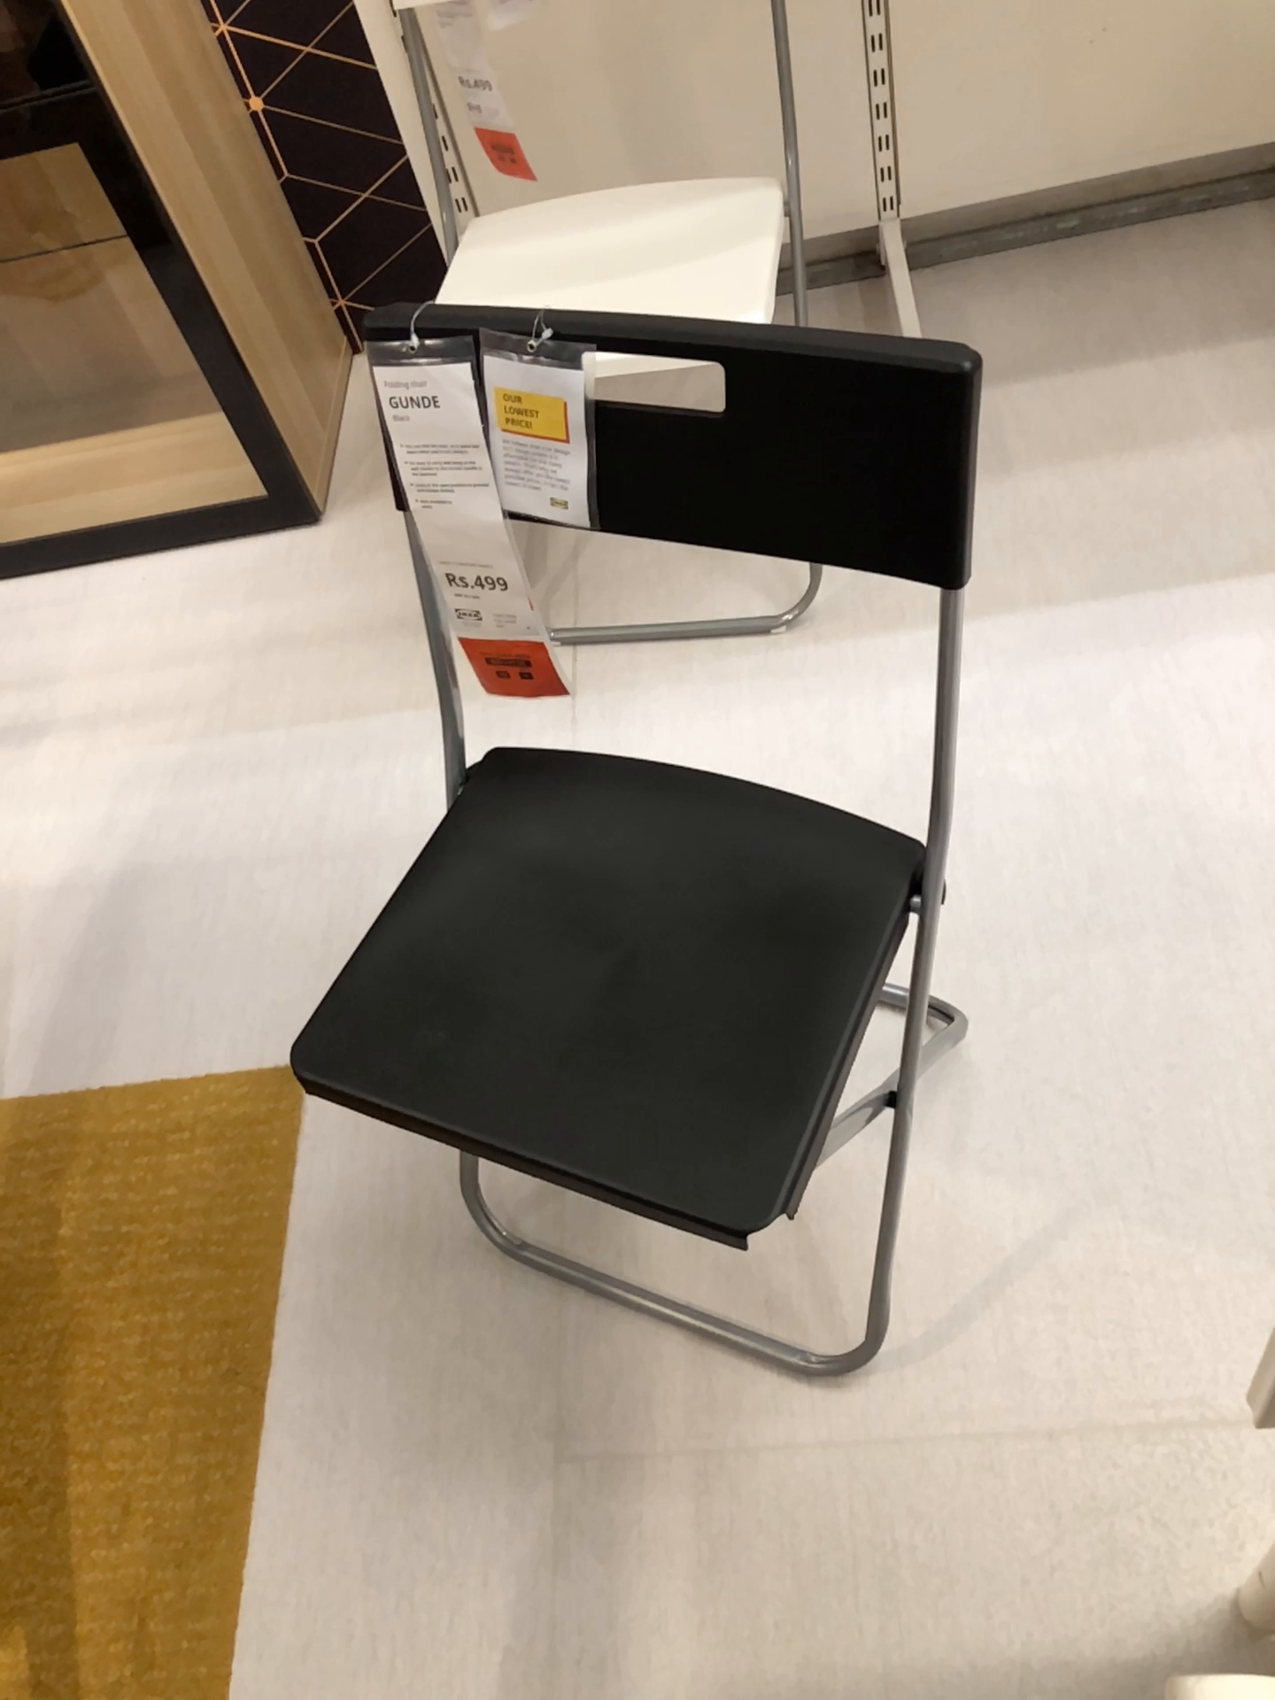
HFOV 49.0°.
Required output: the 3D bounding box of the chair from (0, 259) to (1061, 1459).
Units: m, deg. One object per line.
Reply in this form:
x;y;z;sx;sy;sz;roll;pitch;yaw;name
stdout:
0.003;0.052;1.071;0.501;0.786;0.462;13;59;23;chair
